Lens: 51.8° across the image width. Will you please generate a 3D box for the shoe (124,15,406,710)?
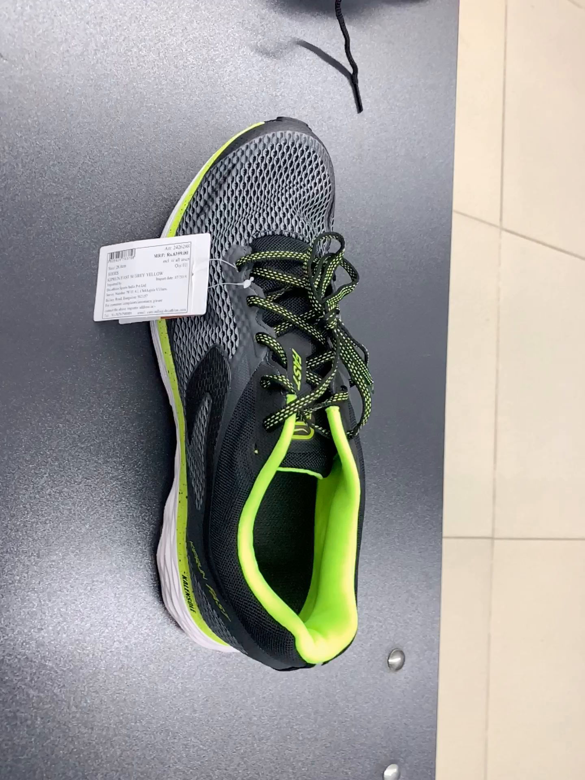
[{"bbox_3d":[-0.017,-0.013,0.340,0.110,0.110,0.310,5,83,-29],"label":"shoe"}]
